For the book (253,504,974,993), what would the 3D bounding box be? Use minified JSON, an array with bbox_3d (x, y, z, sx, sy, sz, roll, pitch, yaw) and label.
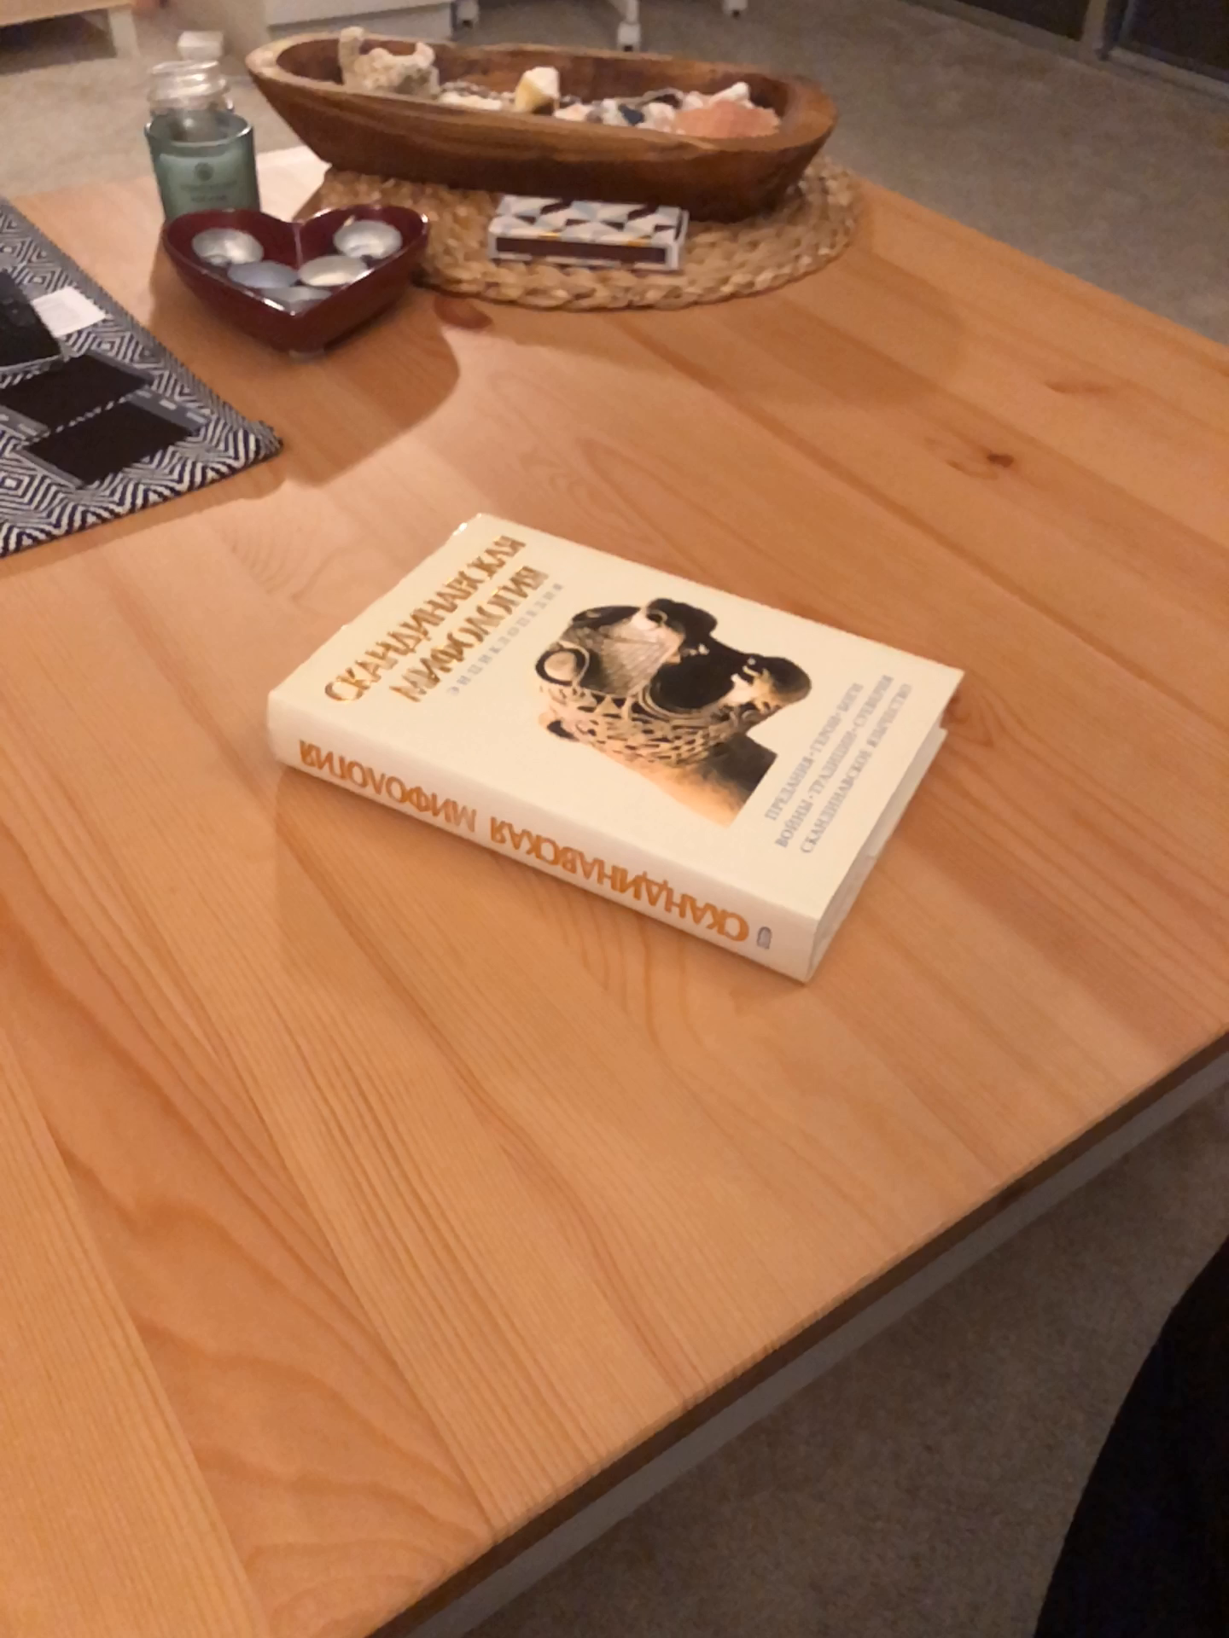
[{"bbox_3d":[0.003,-0.039,0.503,0.215,0.030,0.151,22,47,19],"label":"book"}]
